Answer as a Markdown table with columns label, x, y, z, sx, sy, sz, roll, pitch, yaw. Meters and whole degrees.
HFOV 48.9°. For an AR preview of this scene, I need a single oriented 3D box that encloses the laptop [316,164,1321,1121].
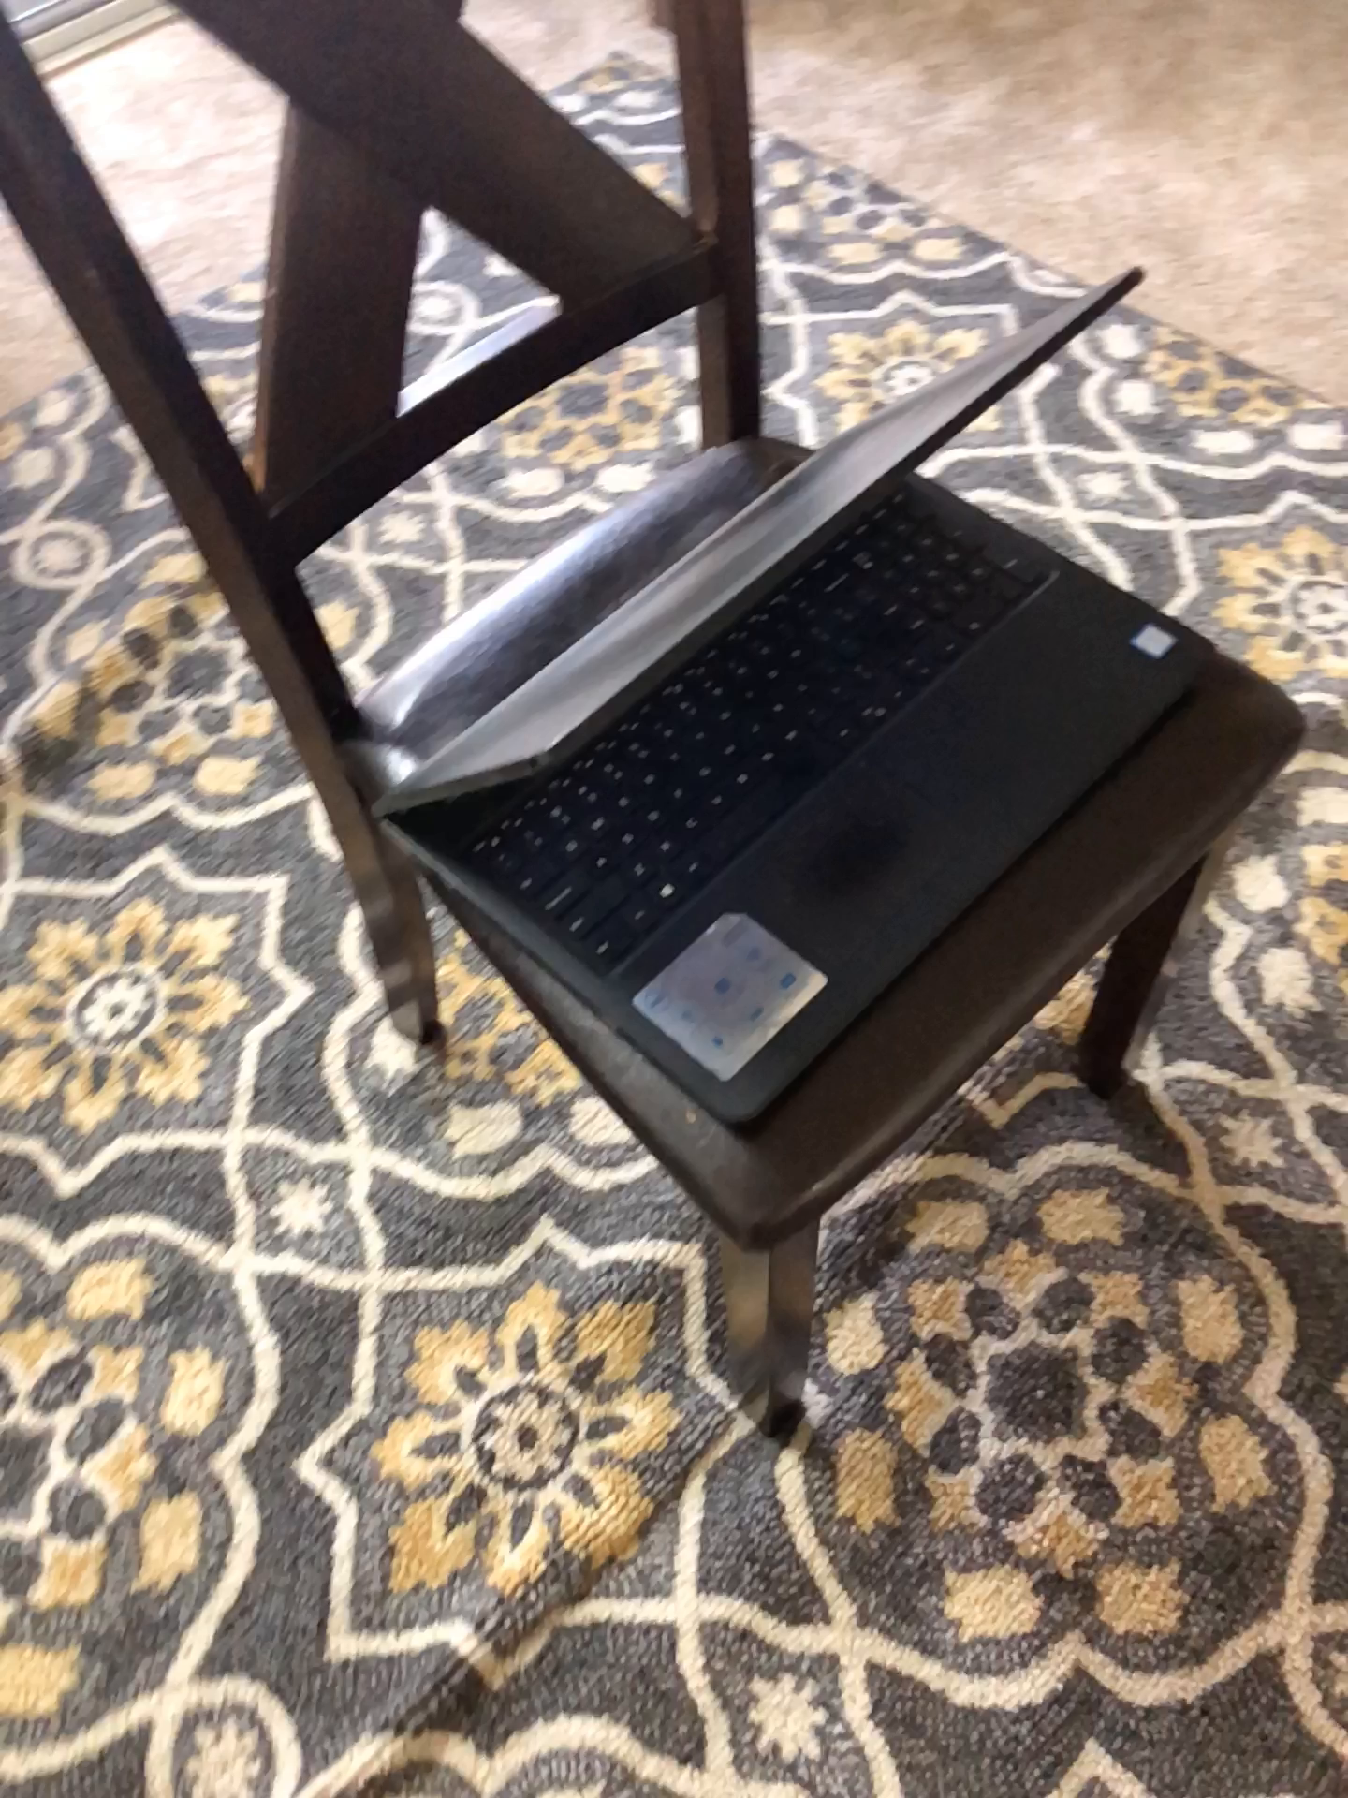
| label | x | y | z | sx | sy | sz | roll | pitch | yaw |
| --- | --- | --- | --- | --- | --- | --- | --- | --- | --- |
| laptop | 0.072 | -0.135 | 0.700 | 0.245 | 0.186 | 0.366 | 36 | 65 | 24 |
